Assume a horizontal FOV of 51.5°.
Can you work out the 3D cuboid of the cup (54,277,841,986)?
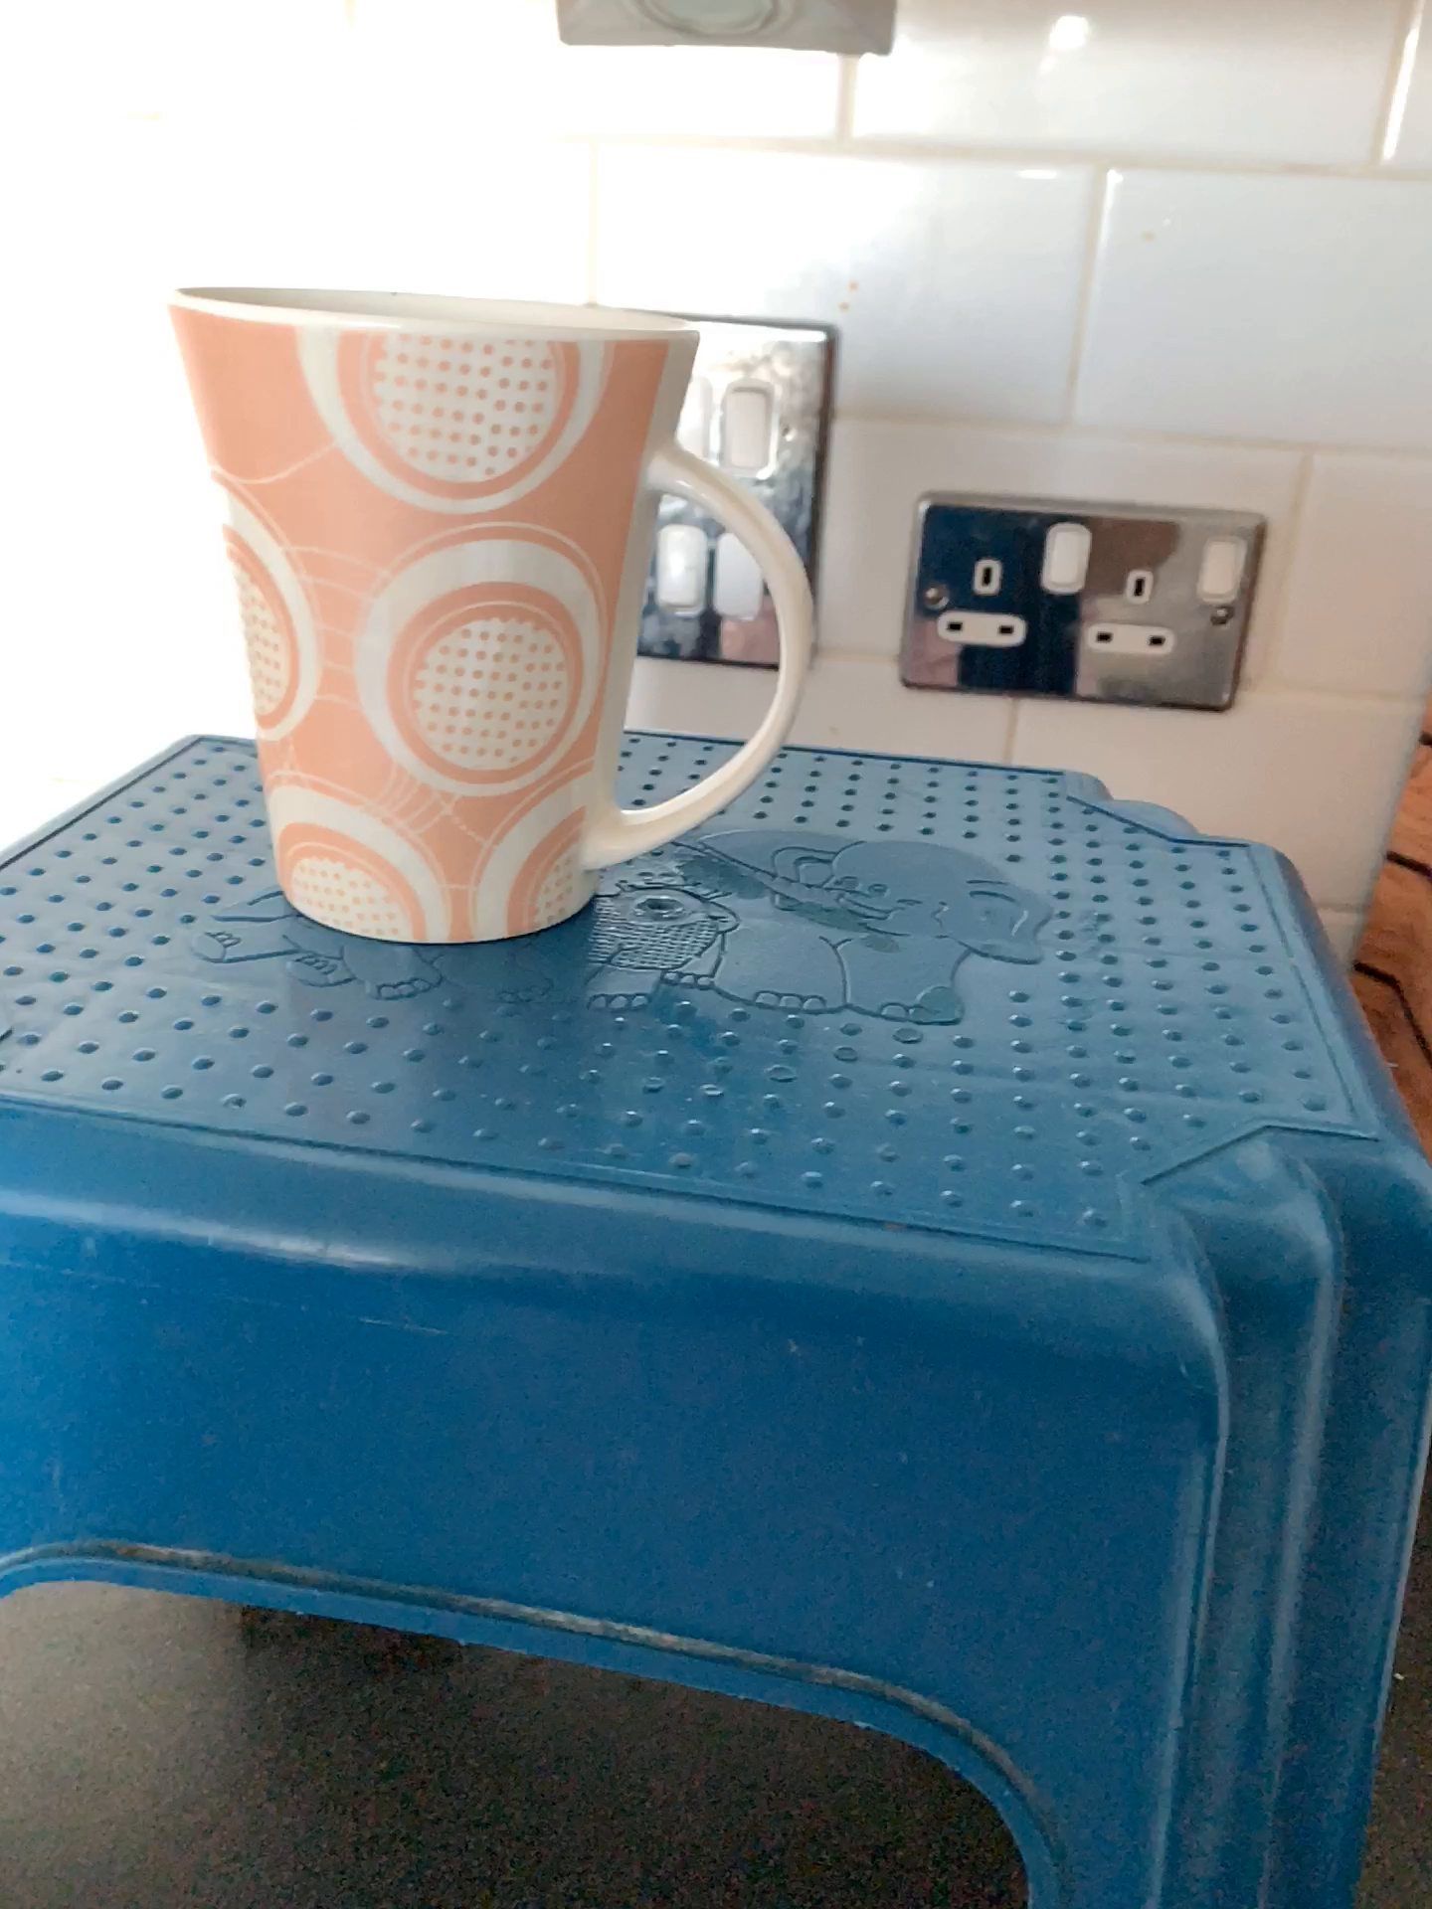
[{"bbox_3d":[-0.042,-0.065,0.279,0.116,0.105,0.078,7,26,6],"label":"cup"}]
